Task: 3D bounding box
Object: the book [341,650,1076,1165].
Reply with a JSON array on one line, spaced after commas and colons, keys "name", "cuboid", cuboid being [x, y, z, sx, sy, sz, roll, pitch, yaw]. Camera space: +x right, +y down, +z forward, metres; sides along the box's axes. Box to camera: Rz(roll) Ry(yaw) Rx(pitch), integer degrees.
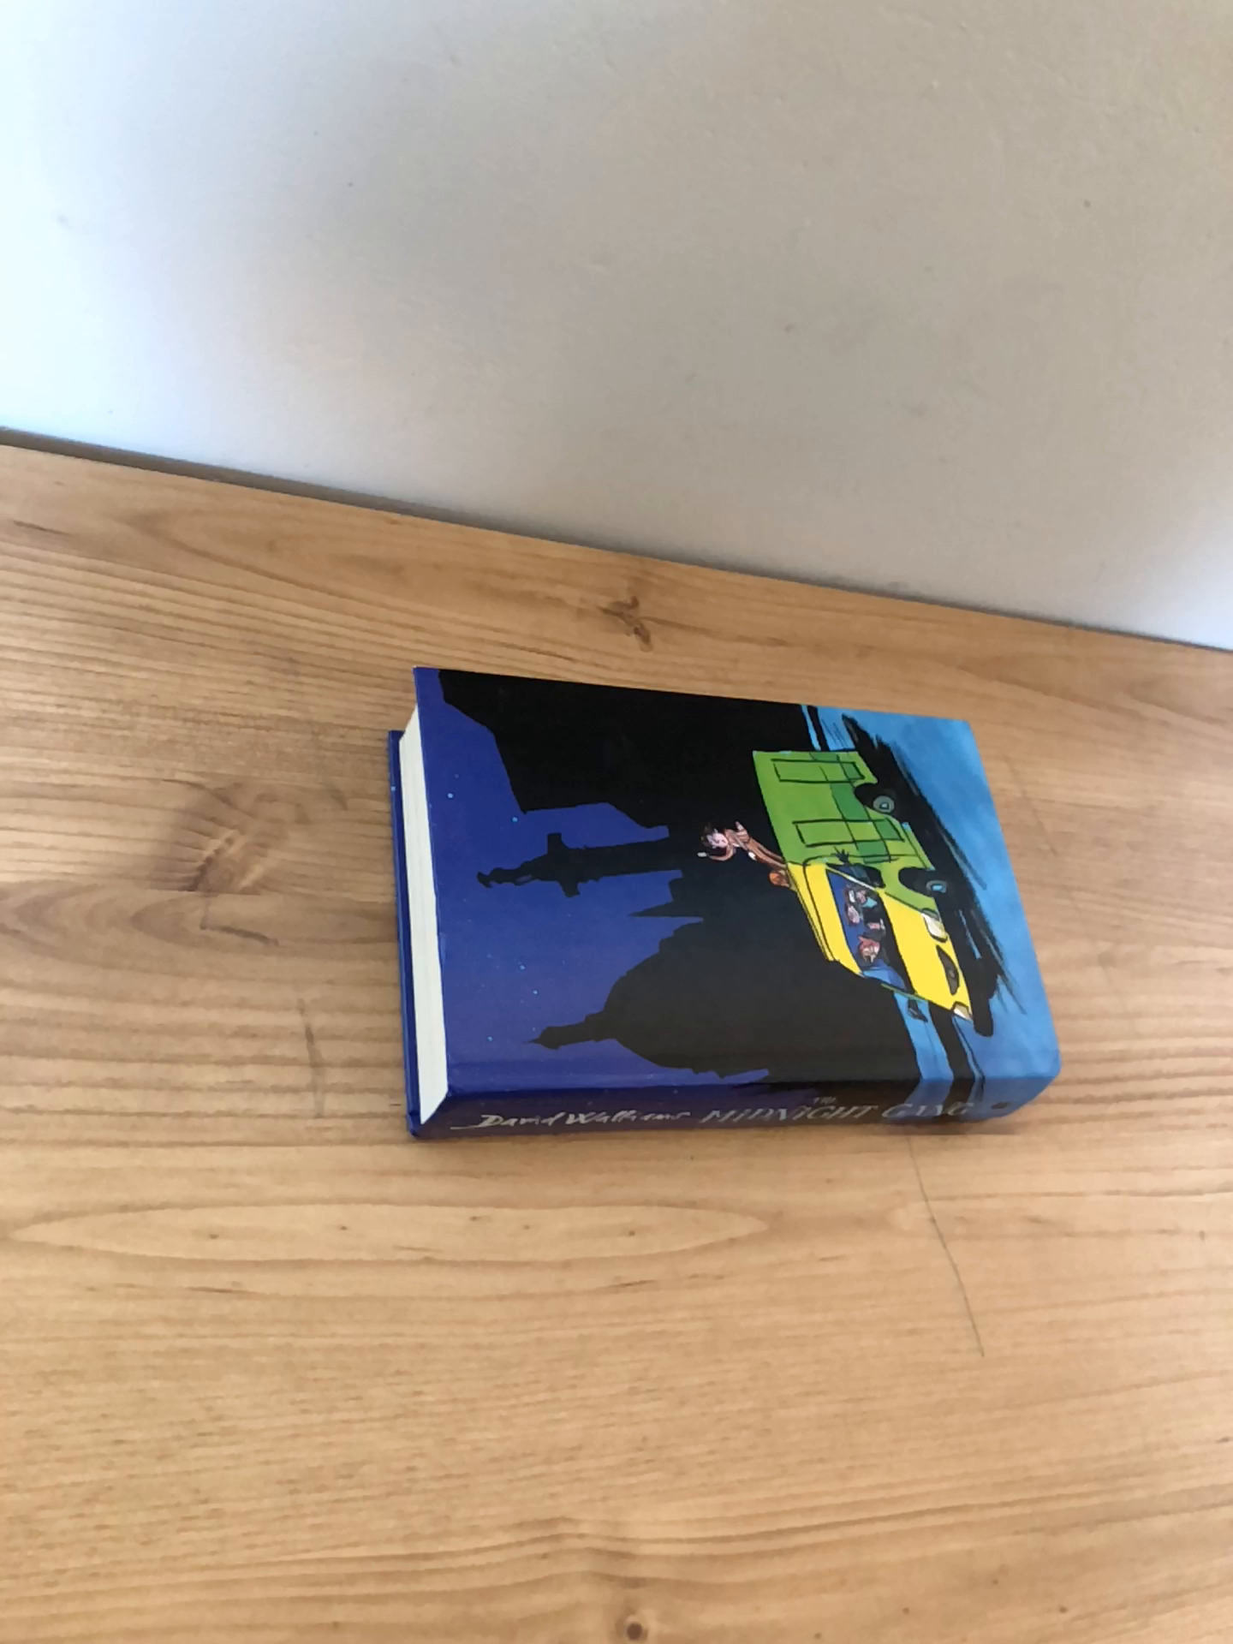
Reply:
[{"name": "book", "cuboid": [0.030, 0.031, 0.483, 0.238, 0.060, 0.153, 3, 64, -24]}]
